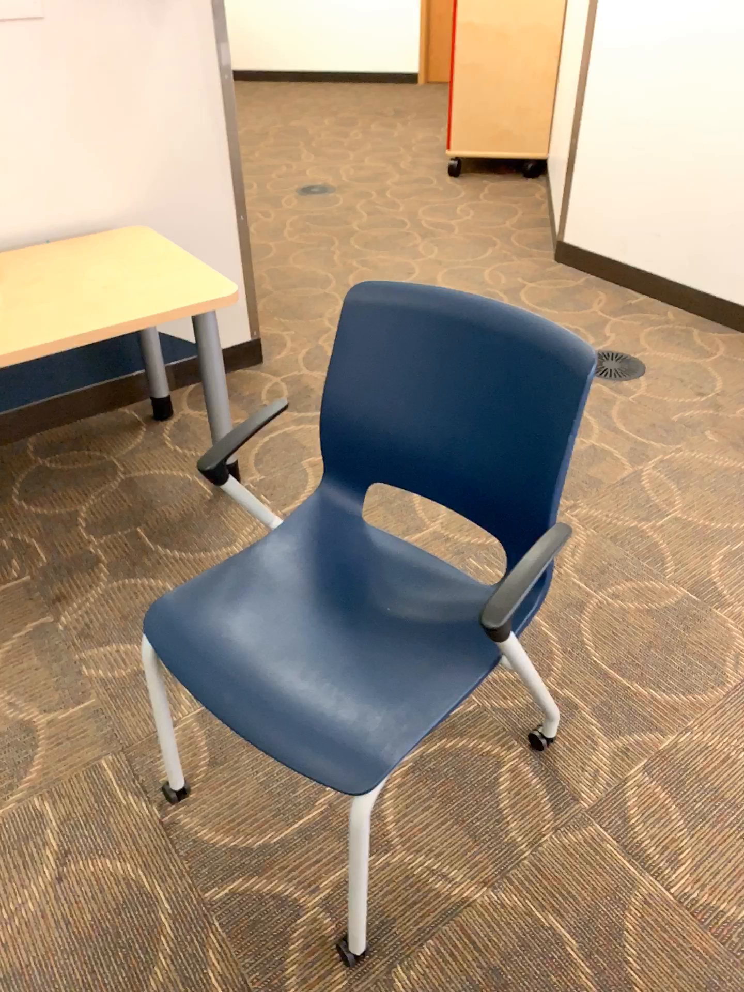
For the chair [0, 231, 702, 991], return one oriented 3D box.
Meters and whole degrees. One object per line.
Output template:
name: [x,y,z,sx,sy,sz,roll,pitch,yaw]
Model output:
chair: [-0.055,0.122,1.048,0.621,0.687,0.612,27,45,32]
